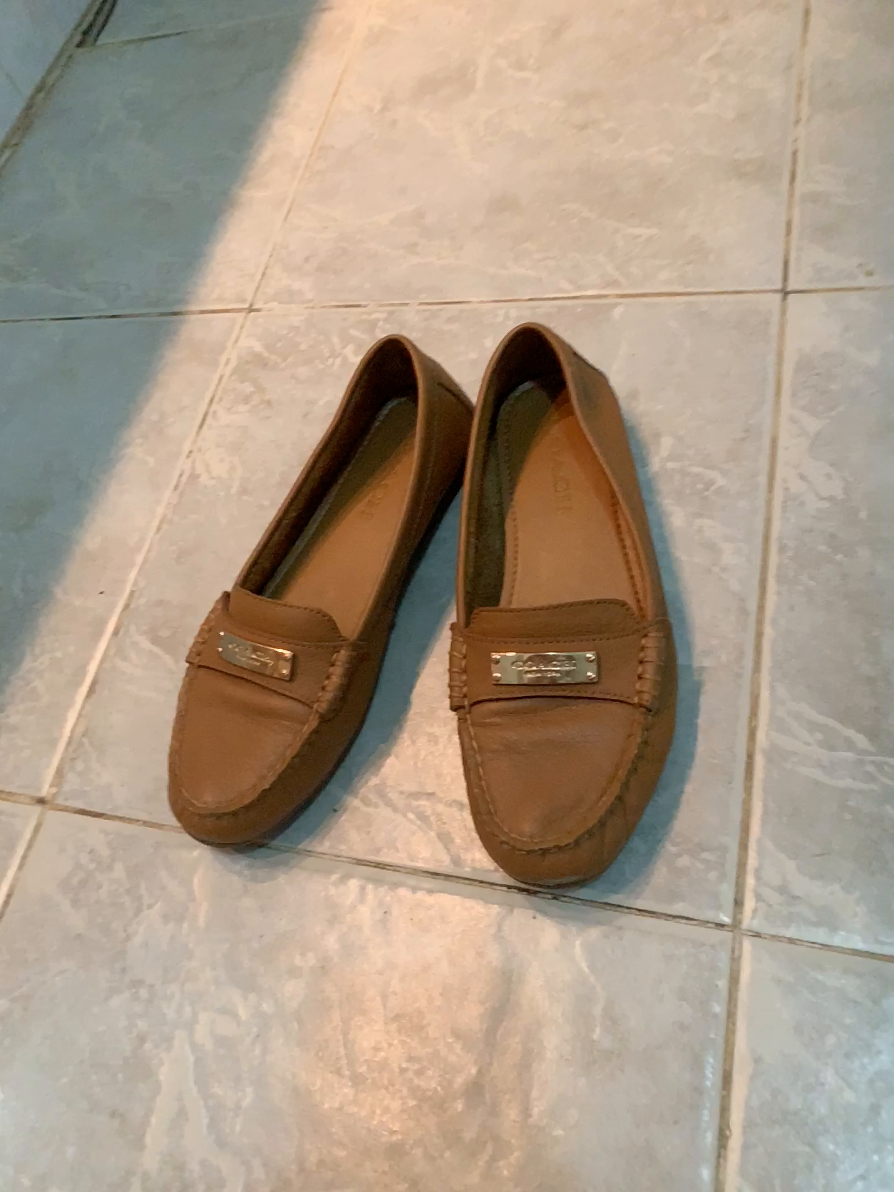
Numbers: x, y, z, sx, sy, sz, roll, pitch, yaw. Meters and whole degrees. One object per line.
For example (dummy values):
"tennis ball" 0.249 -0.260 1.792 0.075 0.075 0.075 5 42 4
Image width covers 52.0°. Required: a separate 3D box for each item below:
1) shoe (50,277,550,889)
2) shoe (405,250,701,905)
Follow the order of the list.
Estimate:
"shoe" -0.048 -0.015 0.389 0.083 0.071 0.243 18 69 26
"shoe" 0.042 -0.013 0.355 0.085 0.071 0.243 -6 61 15
